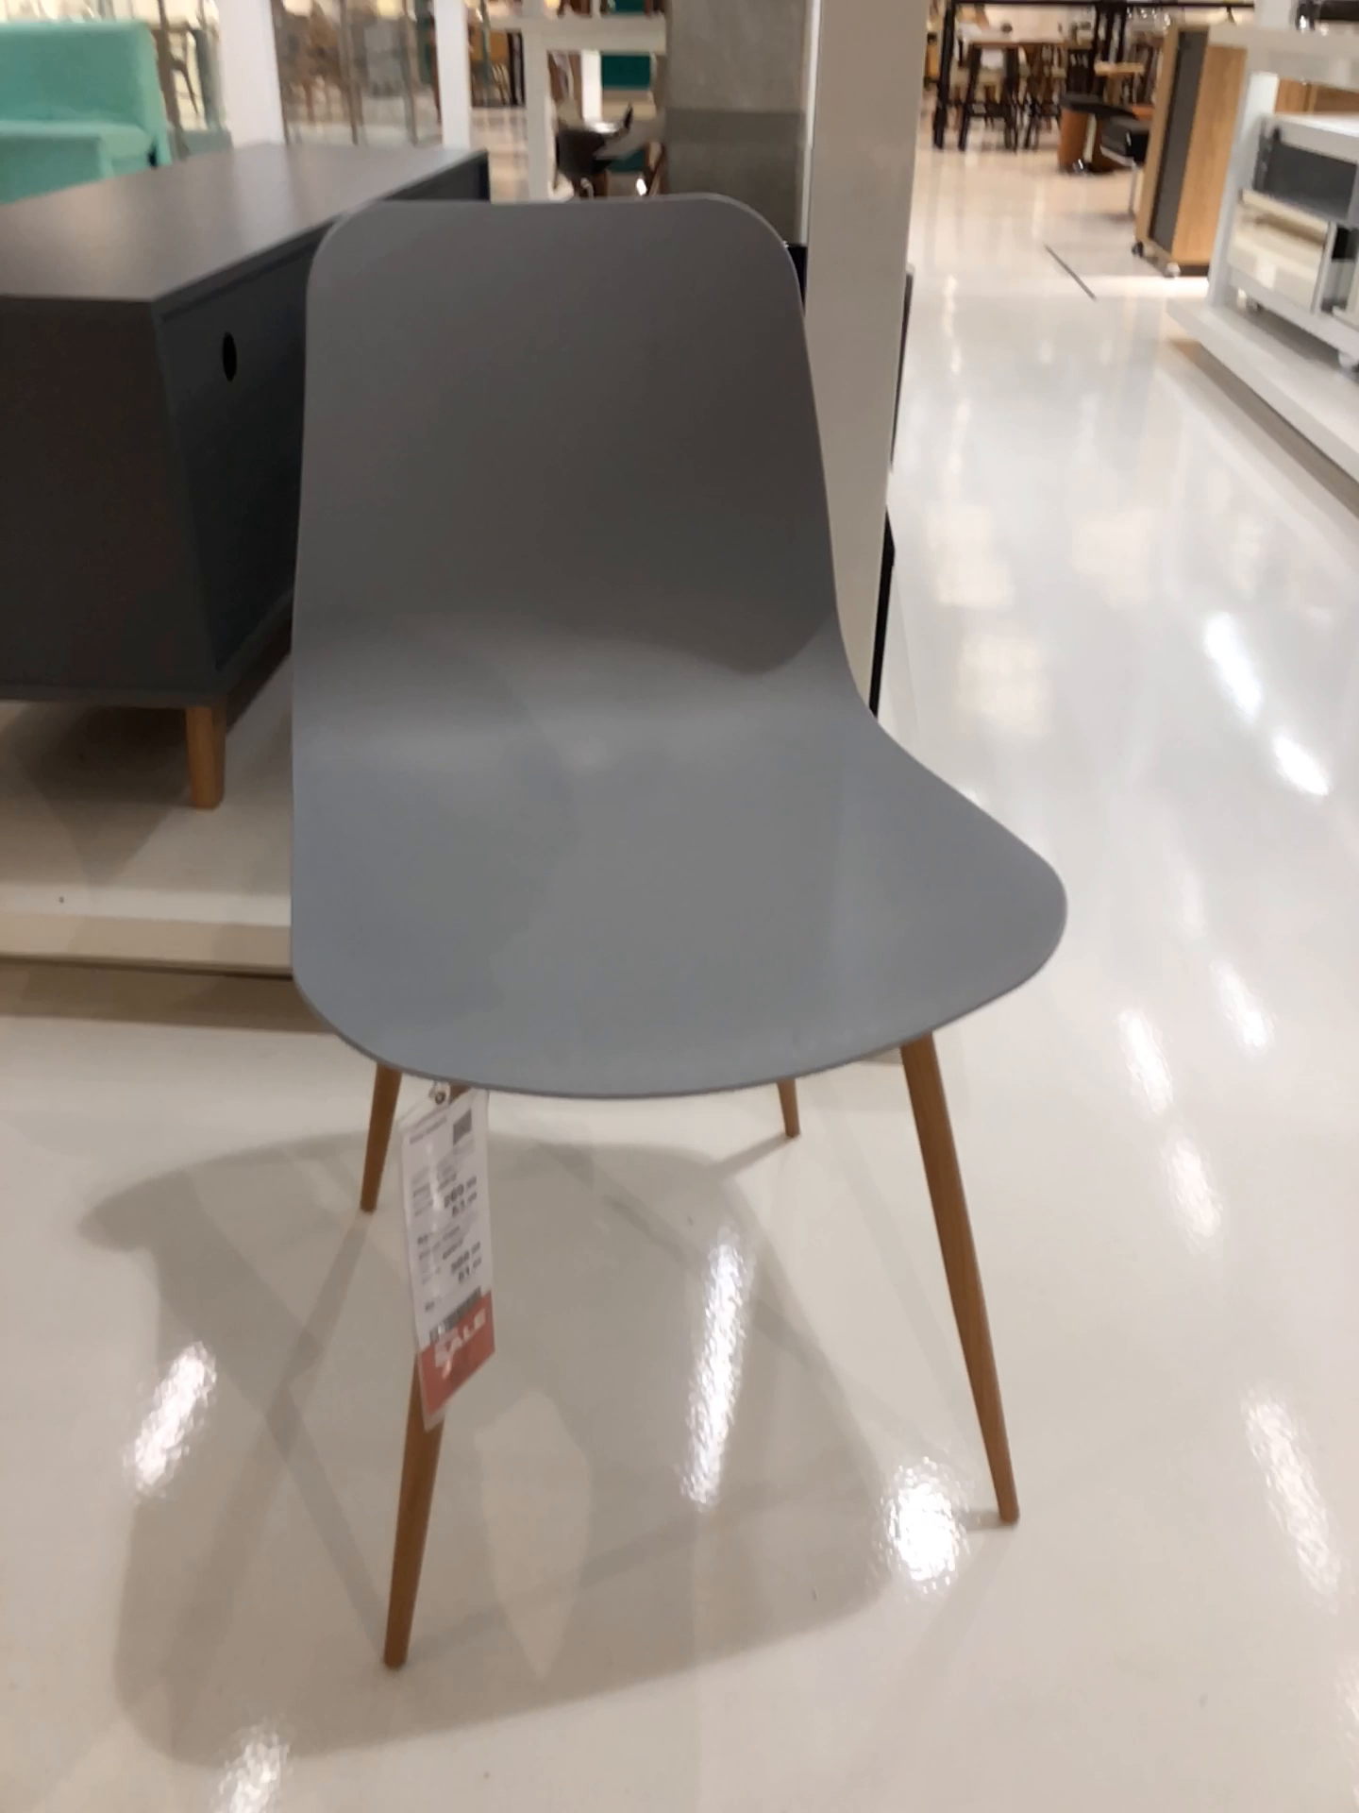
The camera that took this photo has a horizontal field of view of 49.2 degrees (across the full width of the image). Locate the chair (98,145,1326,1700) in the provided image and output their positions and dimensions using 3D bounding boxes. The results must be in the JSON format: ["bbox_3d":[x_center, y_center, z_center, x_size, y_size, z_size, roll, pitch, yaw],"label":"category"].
[{"bbox_3d":[-0.028,-0.013,0.950,0.470,0.814,0.473,-7,31,-12],"label":"chair"}]
